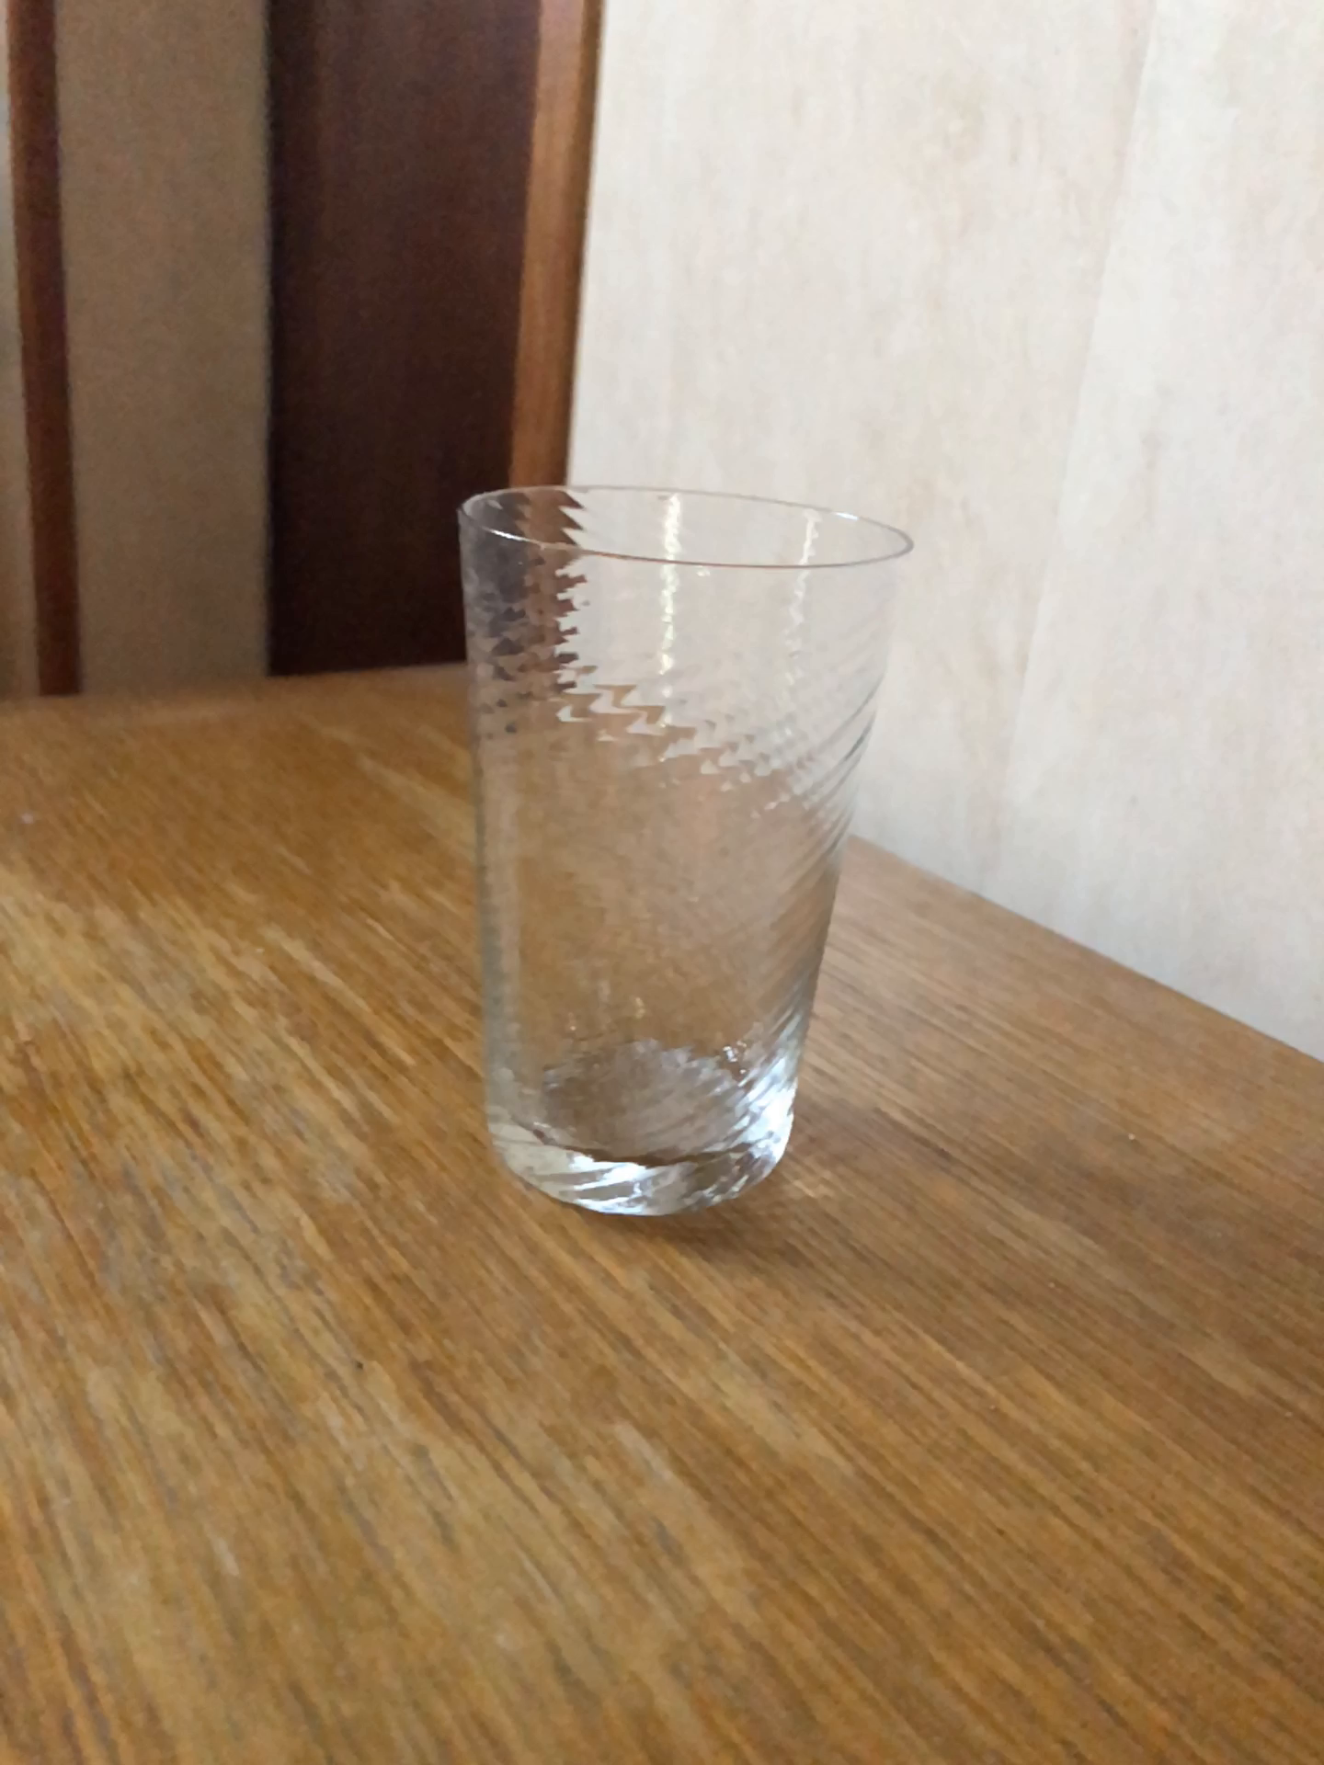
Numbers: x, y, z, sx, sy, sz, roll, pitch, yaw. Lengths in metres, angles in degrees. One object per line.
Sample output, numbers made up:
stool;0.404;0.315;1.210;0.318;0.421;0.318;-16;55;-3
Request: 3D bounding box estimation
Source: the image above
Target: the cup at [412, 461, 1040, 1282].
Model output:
cup;0.002;-0.005;0.259;0.080;0.119;0.070;-1;22;-16
